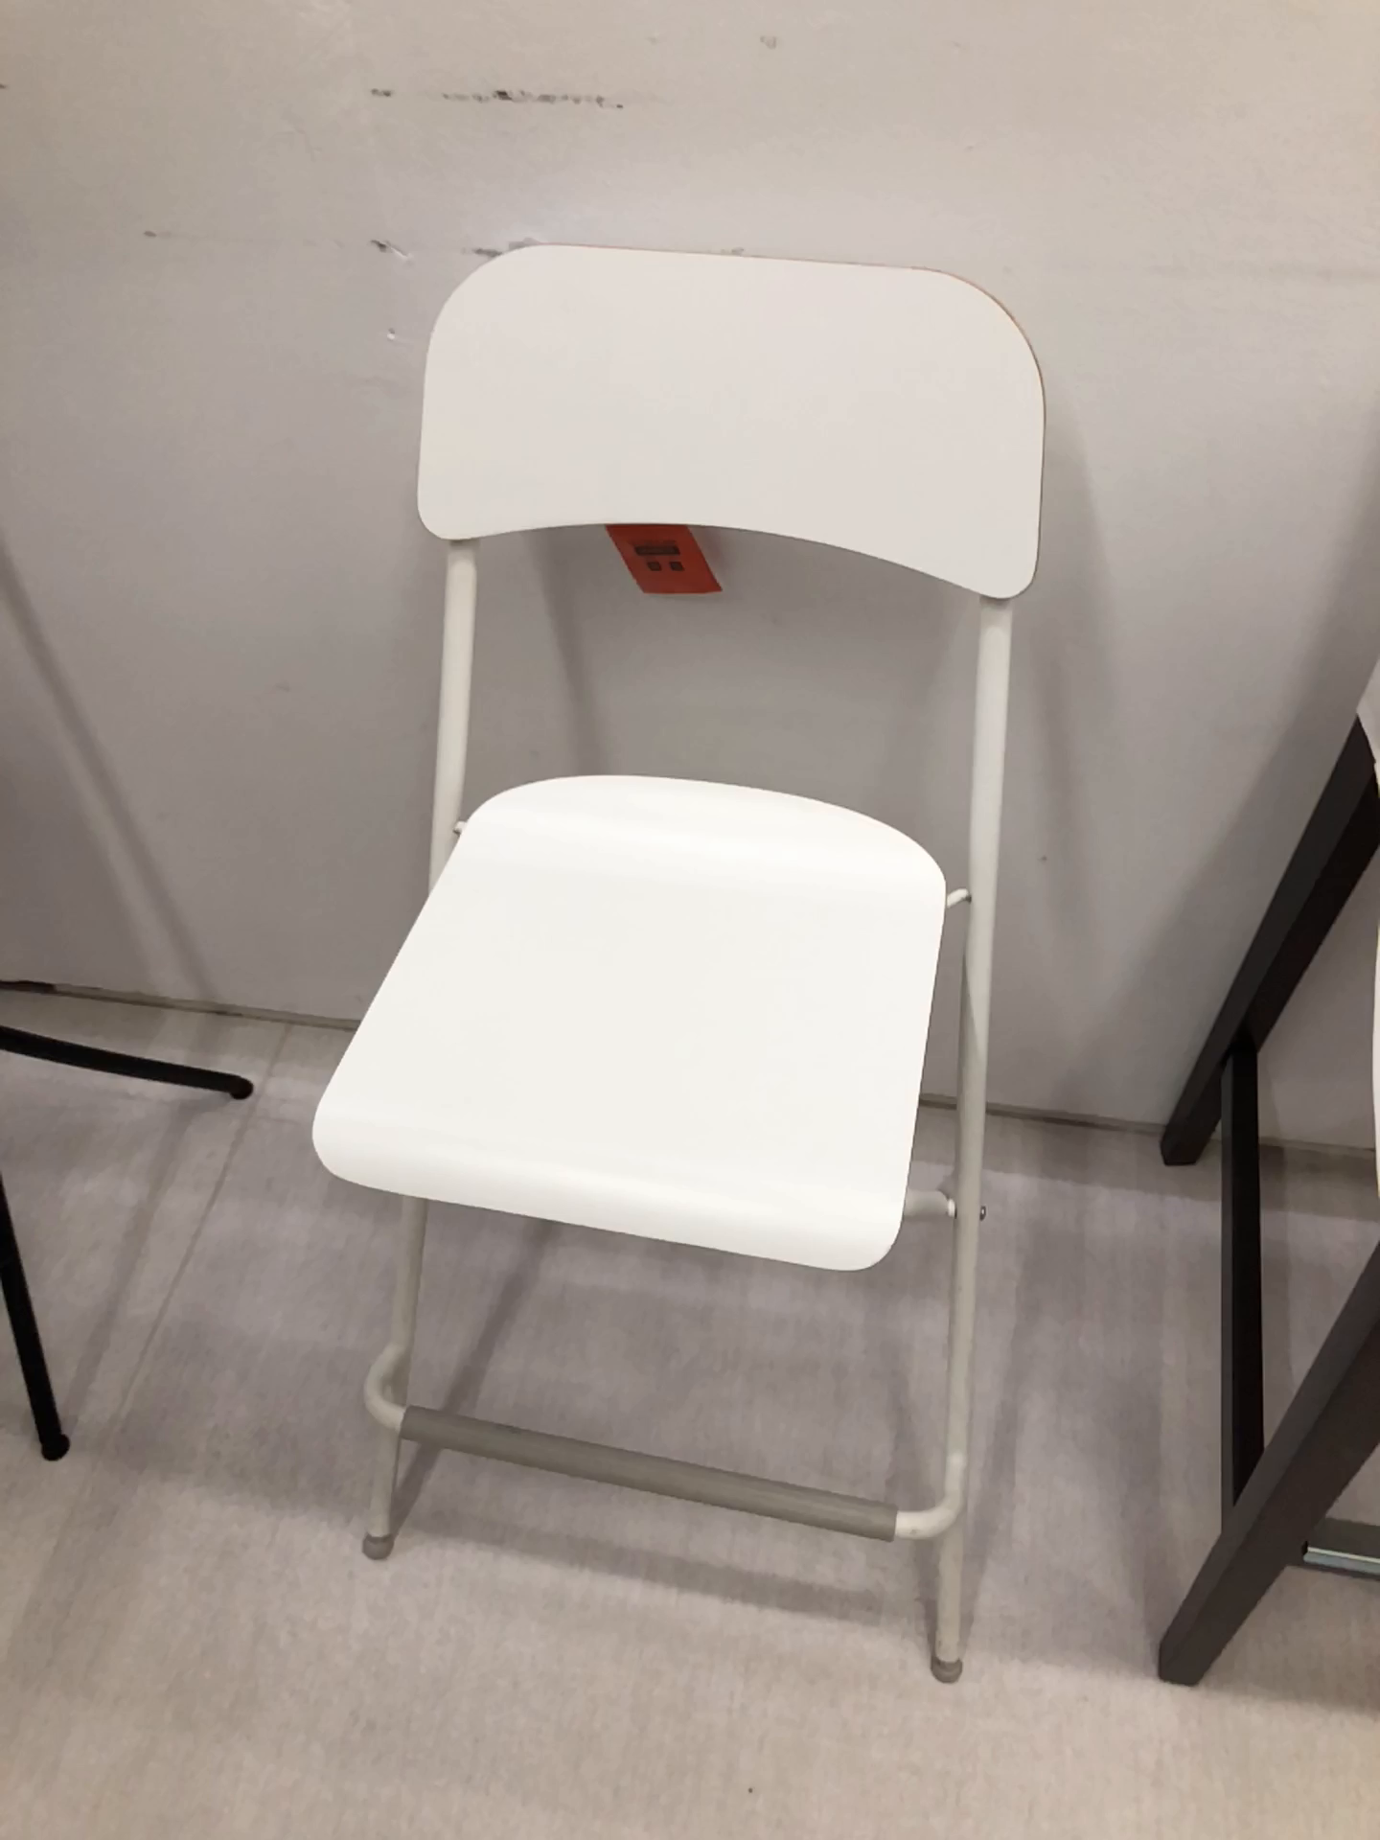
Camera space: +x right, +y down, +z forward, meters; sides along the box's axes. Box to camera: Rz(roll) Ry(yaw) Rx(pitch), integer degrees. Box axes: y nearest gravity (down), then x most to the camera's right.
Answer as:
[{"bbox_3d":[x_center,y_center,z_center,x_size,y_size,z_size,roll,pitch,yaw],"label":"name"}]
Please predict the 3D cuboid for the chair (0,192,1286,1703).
[{"bbox_3d":[-0.008,0.087,1.006,0.530,0.895,0.483,6,50,9],"label":"chair"}]
